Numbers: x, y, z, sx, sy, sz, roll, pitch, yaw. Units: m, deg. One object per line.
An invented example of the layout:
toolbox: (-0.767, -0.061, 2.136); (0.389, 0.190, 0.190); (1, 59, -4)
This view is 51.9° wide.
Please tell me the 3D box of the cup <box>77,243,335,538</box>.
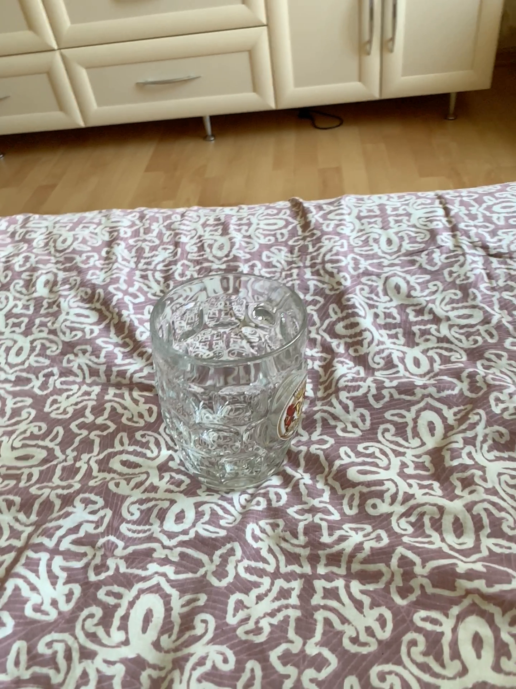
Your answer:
cup: (-0.020, 0.020, 0.309); (0.093, 0.099, 0.118); (13, 41, 17)
